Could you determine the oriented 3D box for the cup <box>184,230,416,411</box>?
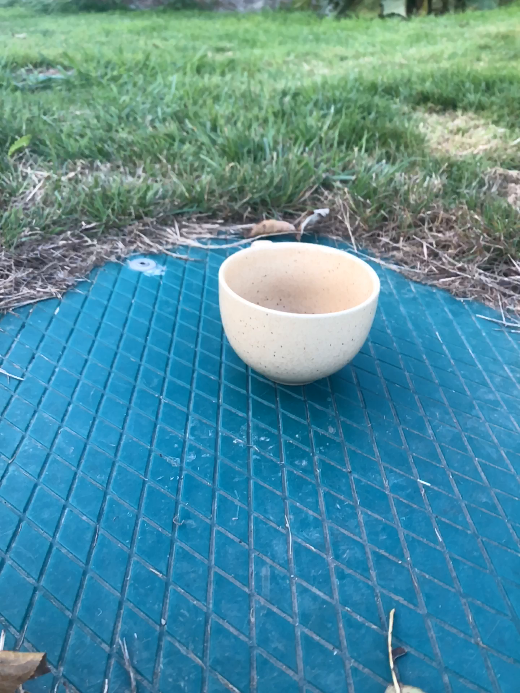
[{"bbox_3d":[0.021,-0.030,0.440,0.124,0.065,0.143,-9,33,-19],"label":"cup"}]
